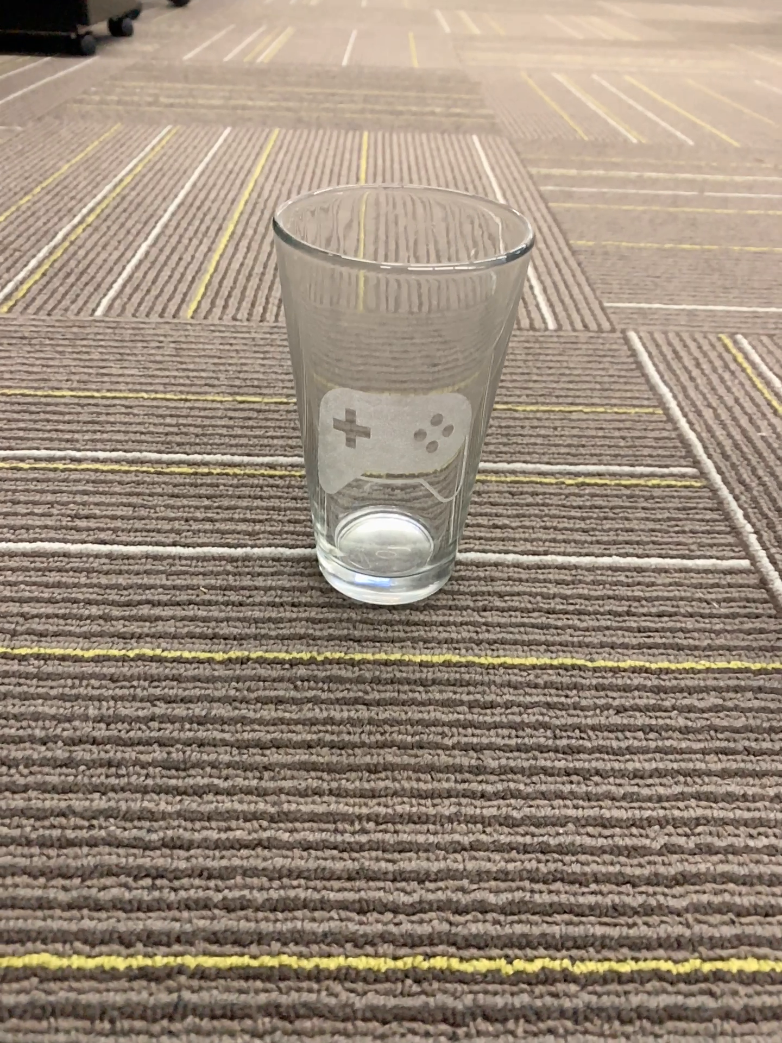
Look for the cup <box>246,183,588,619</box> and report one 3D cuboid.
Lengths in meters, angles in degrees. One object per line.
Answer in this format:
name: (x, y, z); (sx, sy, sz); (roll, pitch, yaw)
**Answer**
cup: (0.000, -0.045, 0.287); (0.090, 0.119, 0.091); (1, 36, -1)
